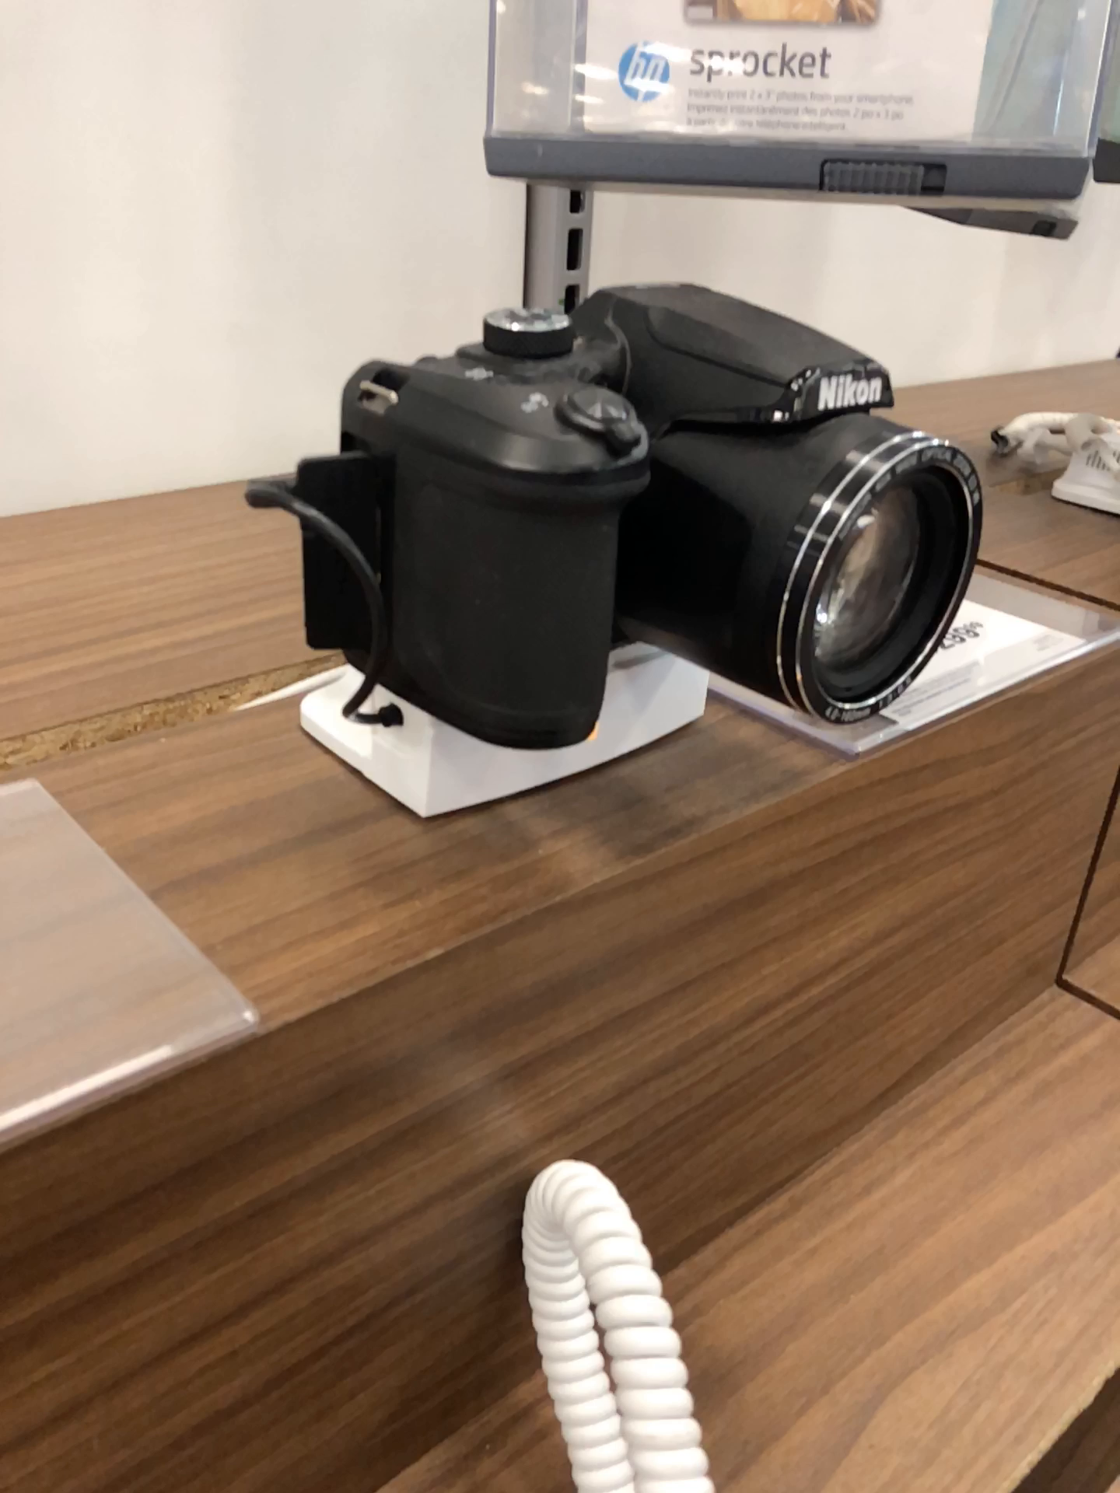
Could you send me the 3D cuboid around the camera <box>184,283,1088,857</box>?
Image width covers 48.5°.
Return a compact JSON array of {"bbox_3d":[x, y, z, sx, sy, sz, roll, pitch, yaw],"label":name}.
[{"bbox_3d":[0.013,-0.054,0.268,0.130,0.070,0.130,-20,34,-39],"label":"camera"}]
